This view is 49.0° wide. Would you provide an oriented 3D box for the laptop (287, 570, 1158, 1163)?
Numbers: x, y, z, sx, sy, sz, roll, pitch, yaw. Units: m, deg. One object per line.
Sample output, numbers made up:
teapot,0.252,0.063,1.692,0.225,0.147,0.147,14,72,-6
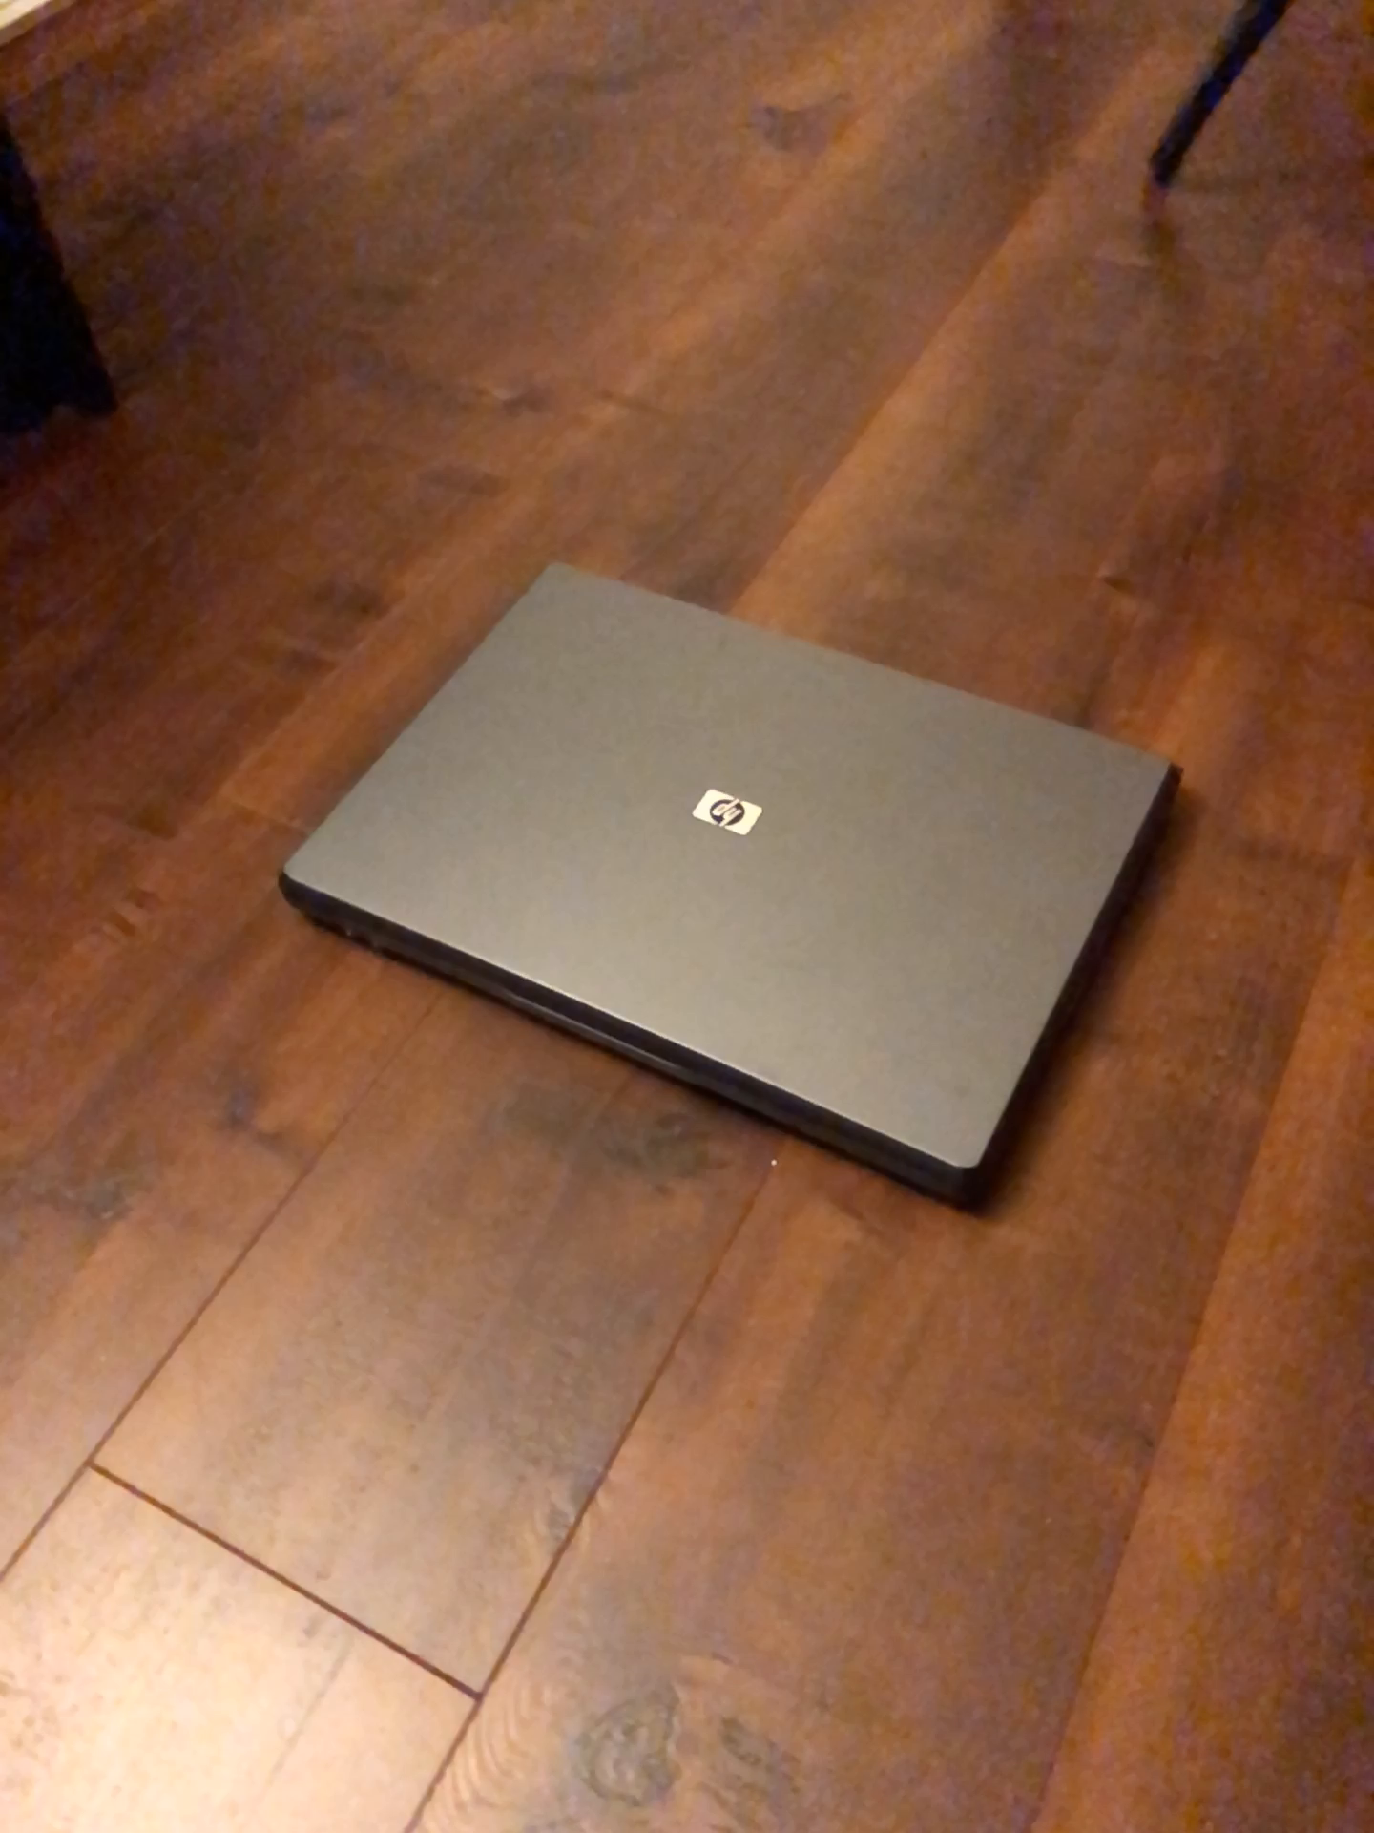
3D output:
laptop,0.017,-0.042,0.654,0.310,0.005,0.216,22,57,19
